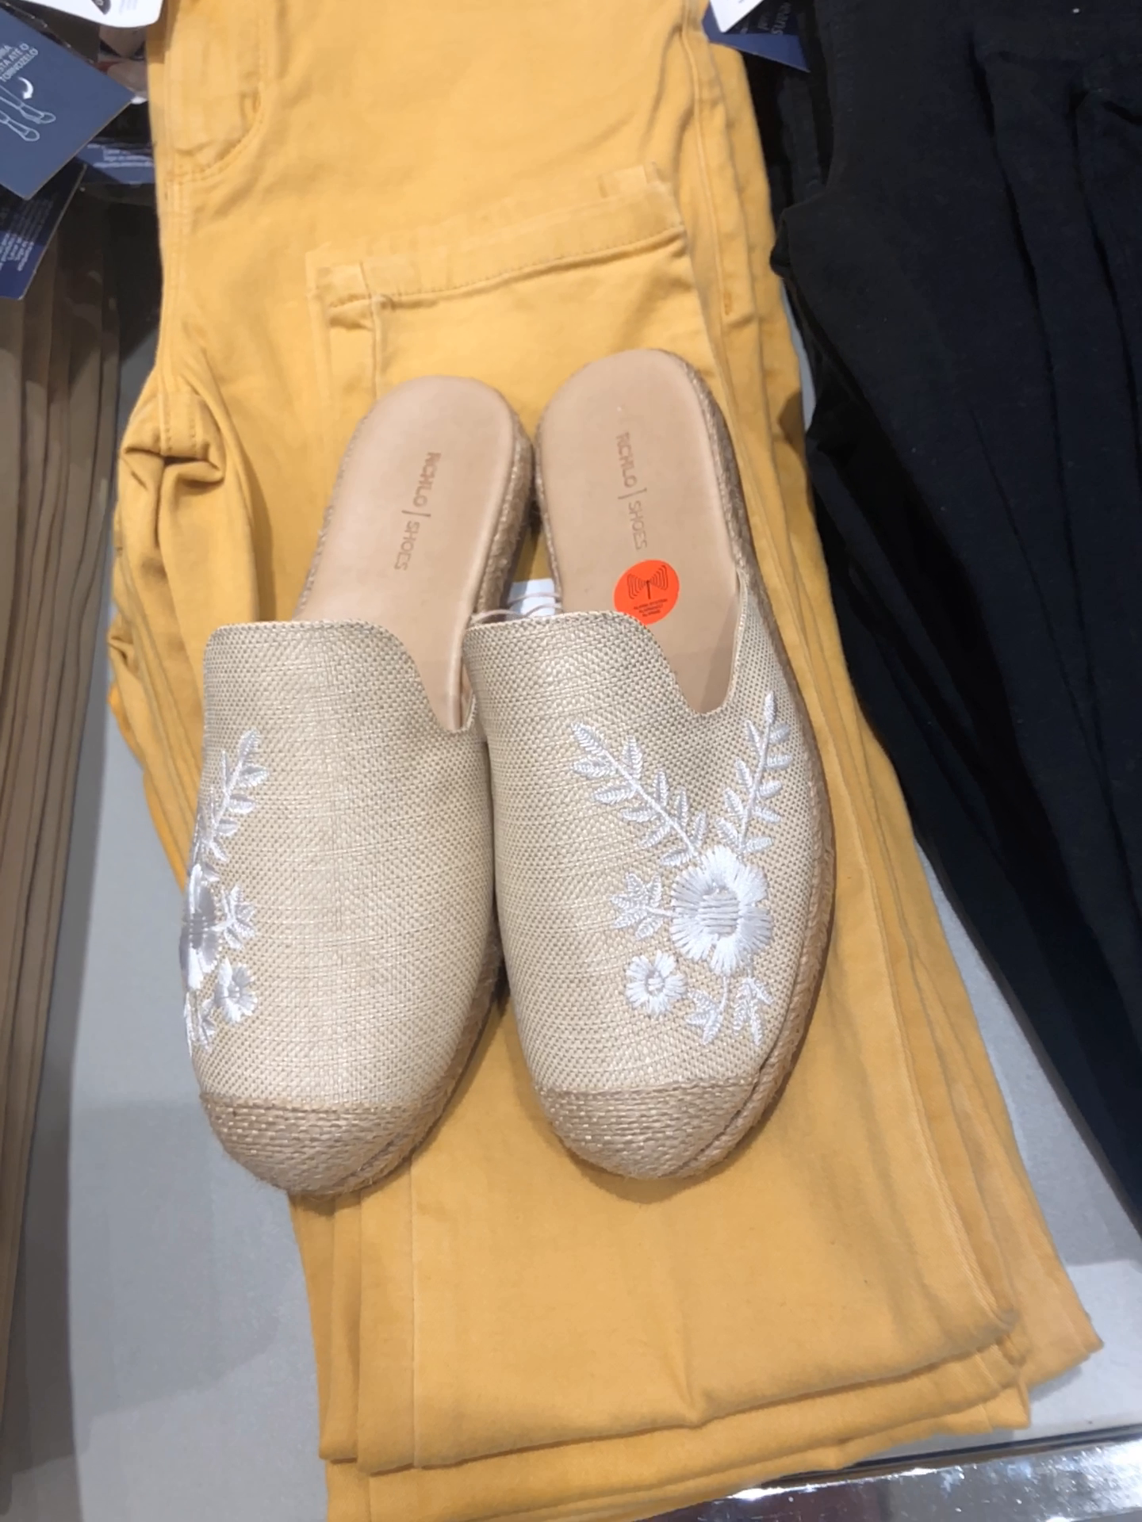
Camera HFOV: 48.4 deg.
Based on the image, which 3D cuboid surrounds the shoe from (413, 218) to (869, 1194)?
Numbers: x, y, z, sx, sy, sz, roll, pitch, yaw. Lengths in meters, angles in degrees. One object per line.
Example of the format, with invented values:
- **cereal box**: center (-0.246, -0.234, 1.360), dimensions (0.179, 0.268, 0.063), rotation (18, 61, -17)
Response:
- **shoe**: center (0.018, -0.018, 0.330), dimensions (0.090, 0.070, 0.241), rotation (-5, 65, 10)

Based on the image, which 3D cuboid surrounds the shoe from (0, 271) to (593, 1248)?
- **shoe**: center (-0.063, -0.010, 0.331), dimensions (0.090, 0.070, 0.241), rotation (4, 66, 14)
